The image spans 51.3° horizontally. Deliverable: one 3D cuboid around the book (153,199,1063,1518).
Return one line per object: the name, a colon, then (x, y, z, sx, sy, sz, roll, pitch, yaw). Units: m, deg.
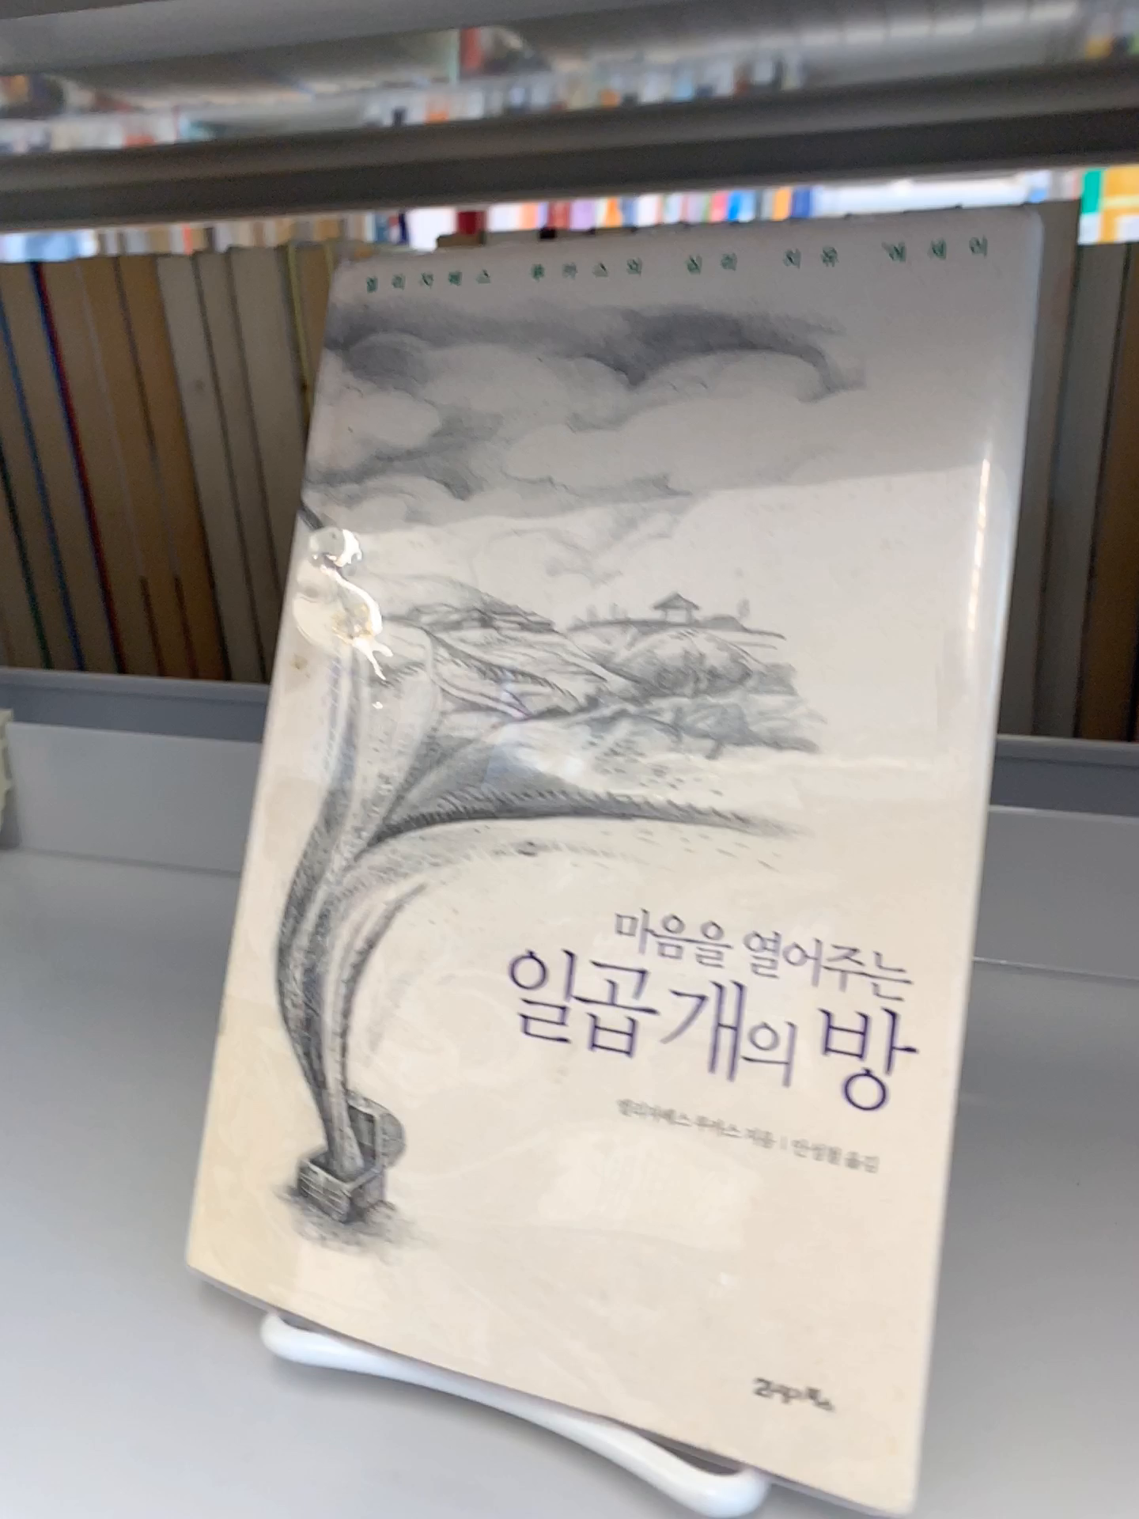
book: (0.001, 0.006, 0.206, 0.137, 0.193, 0.019, 7, -2, 23)
